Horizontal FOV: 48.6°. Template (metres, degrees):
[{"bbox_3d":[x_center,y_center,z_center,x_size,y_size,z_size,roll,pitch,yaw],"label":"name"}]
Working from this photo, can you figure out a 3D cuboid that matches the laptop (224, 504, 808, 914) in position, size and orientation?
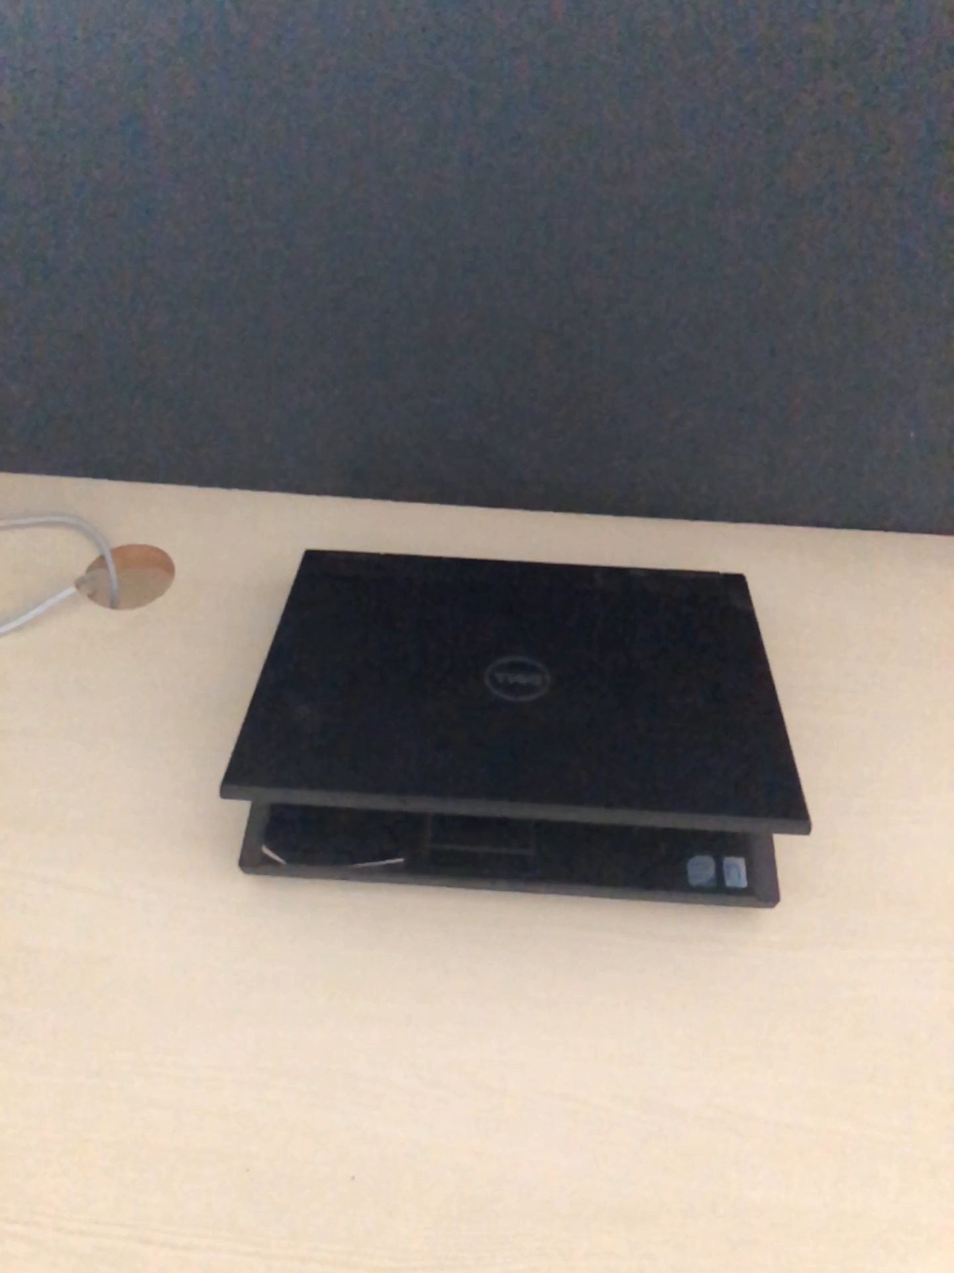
[{"bbox_3d":[0.027,0.035,0.640,0.302,0.065,0.231,3,53,2],"label":"laptop"}]
